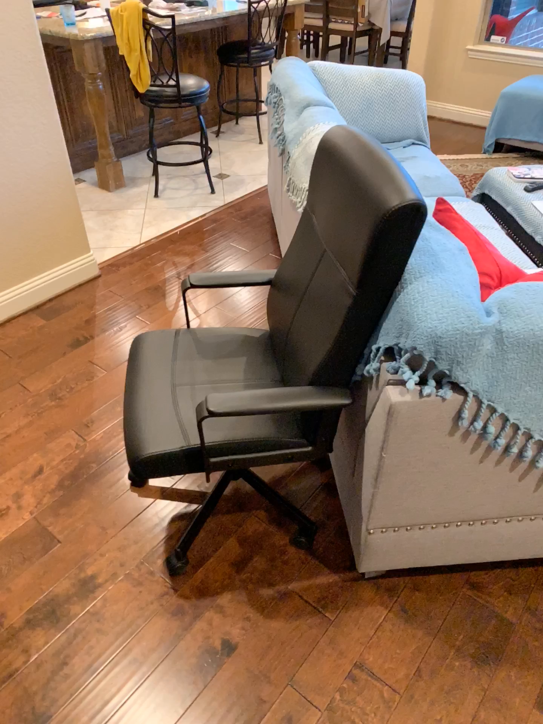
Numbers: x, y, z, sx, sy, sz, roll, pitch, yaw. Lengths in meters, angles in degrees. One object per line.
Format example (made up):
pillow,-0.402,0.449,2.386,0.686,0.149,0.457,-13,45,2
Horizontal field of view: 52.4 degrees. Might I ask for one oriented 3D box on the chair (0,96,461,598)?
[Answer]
chair,-0.120,-0.039,1.466,0.759,1.037,0.738,-5,39,-6
